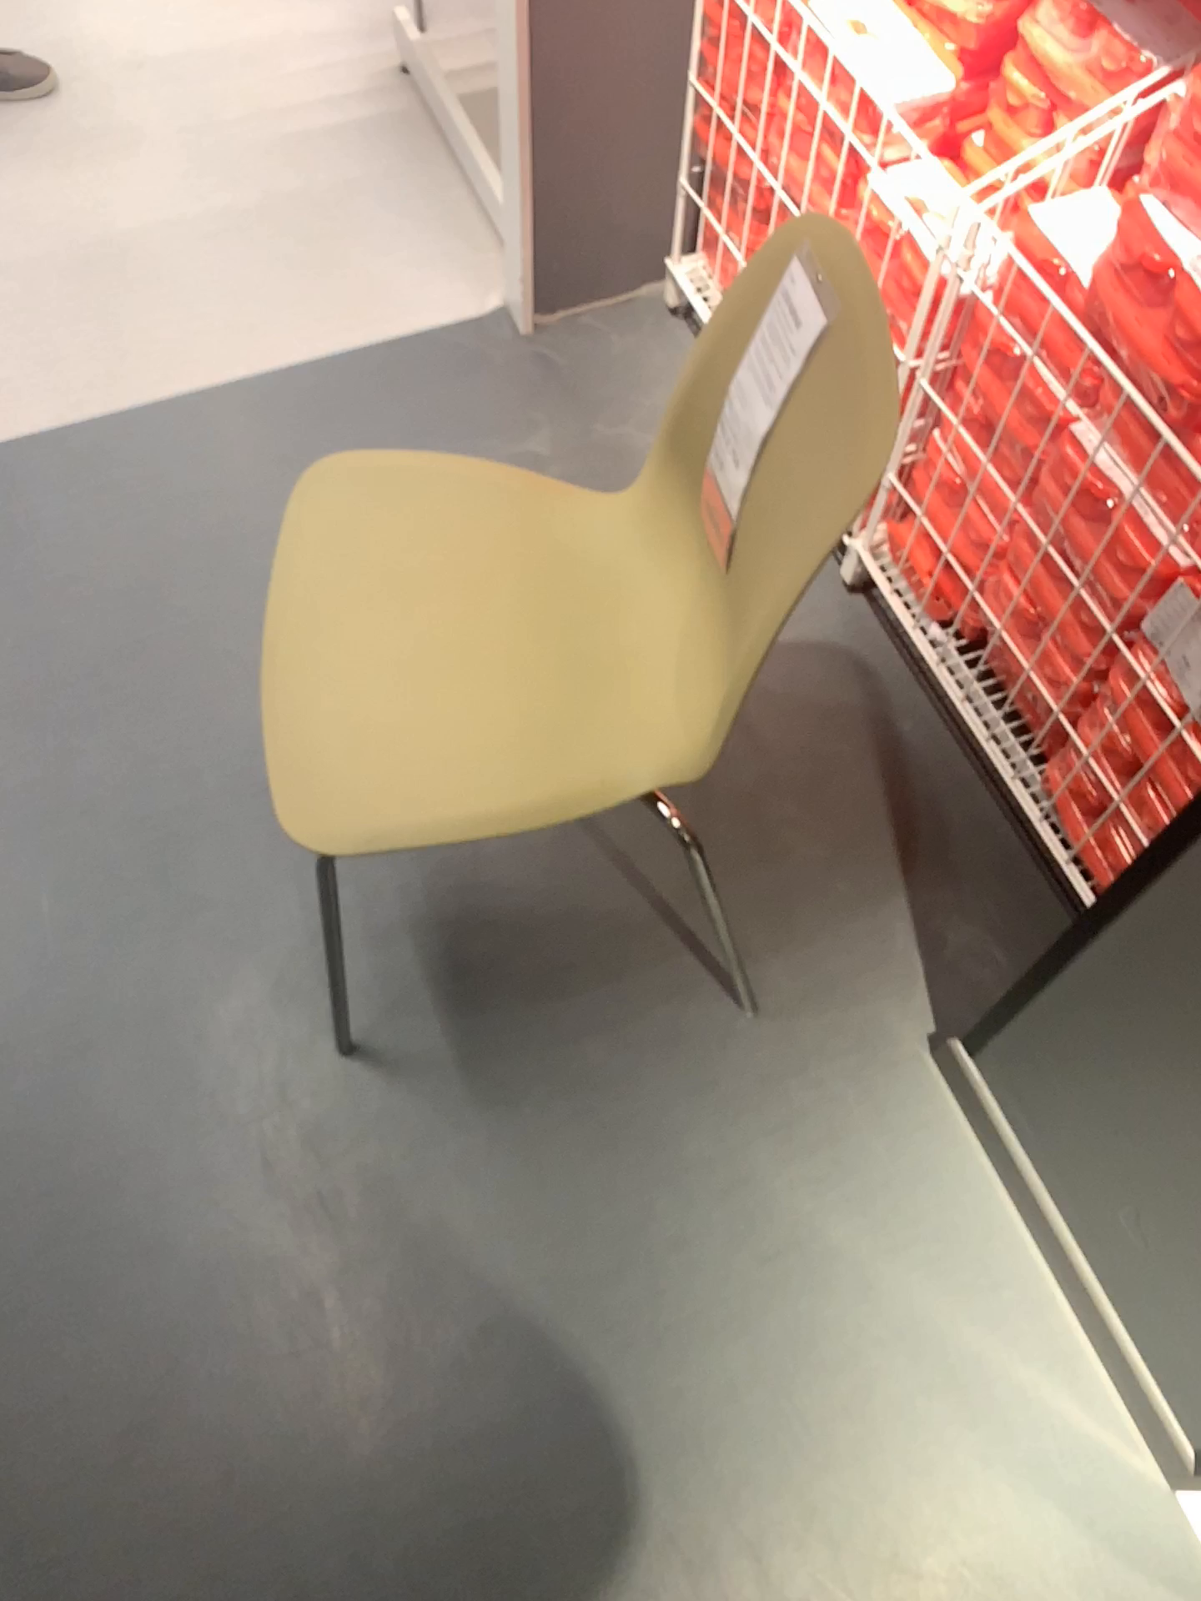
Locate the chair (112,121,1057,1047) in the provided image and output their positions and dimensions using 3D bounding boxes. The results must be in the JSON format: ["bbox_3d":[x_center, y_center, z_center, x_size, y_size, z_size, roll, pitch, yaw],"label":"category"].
[{"bbox_3d":[-0.028,-0.131,1.157,0.550,0.728,0.501,-1,61,-3],"label":"chair"}]
